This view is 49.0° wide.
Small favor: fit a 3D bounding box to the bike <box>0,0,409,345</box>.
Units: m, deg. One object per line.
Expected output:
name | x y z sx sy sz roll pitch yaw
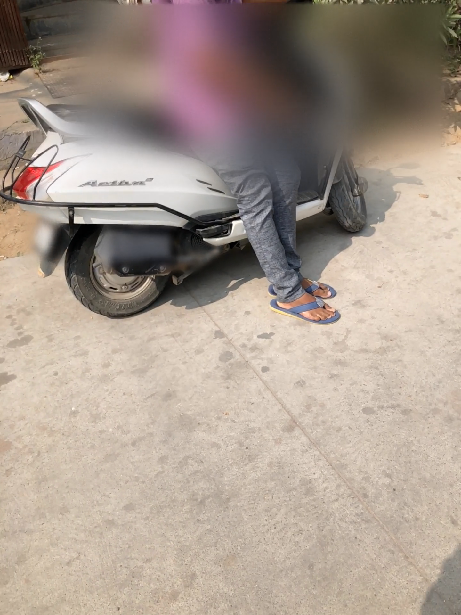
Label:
bike | -0.068 -0.725 2.118 1.528 1.007 0.648 -28 45 -28
